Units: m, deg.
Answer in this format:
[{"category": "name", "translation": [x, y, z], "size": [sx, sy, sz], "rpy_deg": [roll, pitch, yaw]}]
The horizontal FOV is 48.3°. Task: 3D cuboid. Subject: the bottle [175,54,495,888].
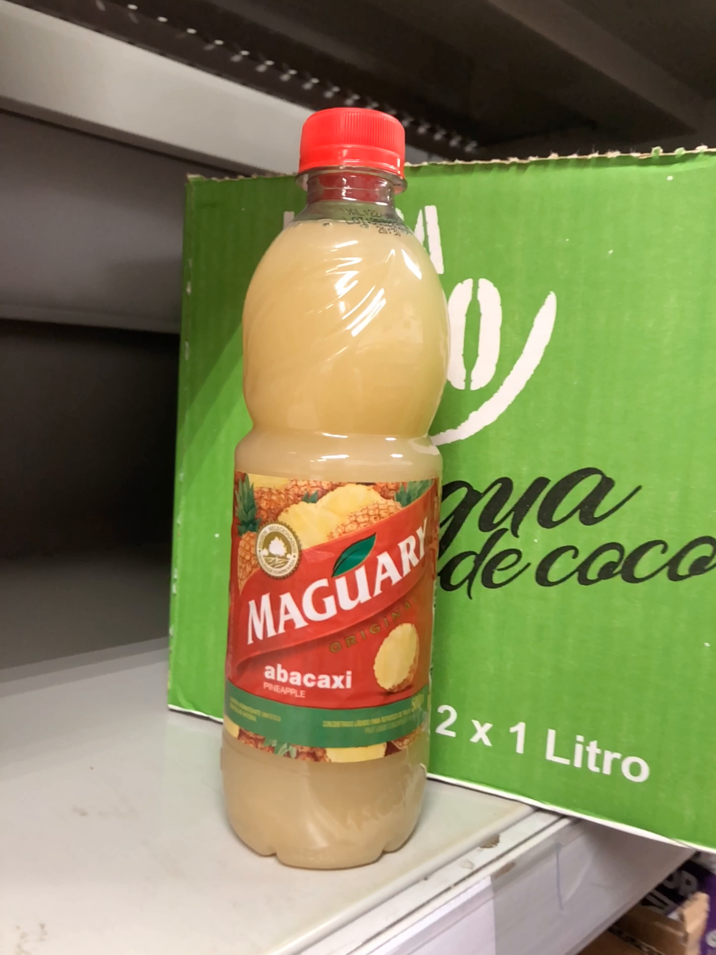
[{"category": "bottle", "translation": [-0.009, 0.001, 0.232], "size": [0.070, 0.209, 0.060], "rpy_deg": [3, 7, -3]}]
